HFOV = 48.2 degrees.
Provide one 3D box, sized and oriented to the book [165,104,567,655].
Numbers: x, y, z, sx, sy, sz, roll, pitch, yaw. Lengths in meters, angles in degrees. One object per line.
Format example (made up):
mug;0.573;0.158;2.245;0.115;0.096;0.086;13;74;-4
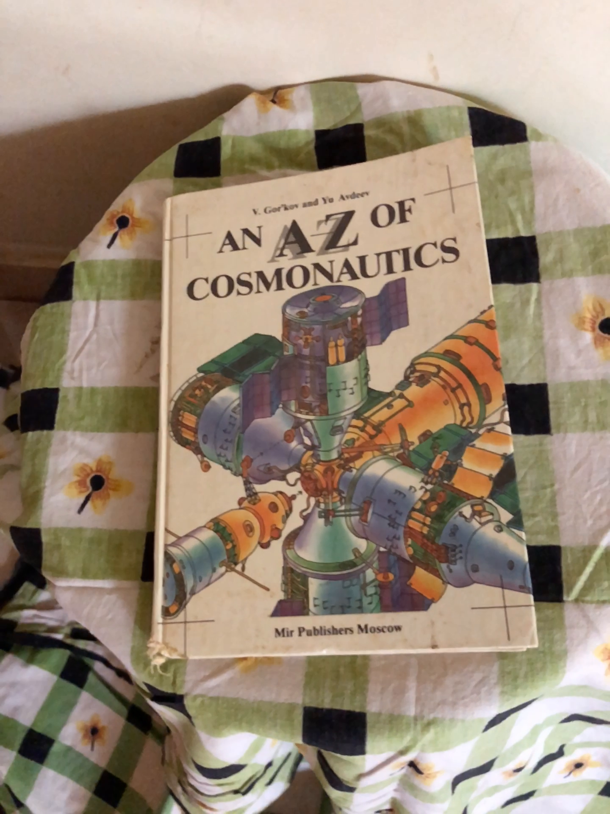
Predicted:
book;0.023;-0.014;0.369;0.180;0.060;0.270;-5;74;10
